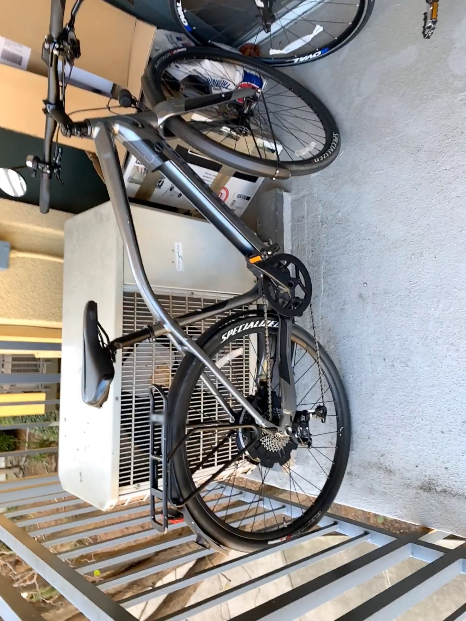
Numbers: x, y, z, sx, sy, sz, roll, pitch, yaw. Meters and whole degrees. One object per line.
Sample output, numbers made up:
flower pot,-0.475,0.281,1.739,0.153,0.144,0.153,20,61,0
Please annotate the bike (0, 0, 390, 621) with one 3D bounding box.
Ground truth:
bike,-0.175,-0.124,1.466,0.626,0.969,1.584,-18,72,45

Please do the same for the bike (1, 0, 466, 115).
bike,0.327,-0.934,1.013,1.512,0.930,0.362,3,88,44
